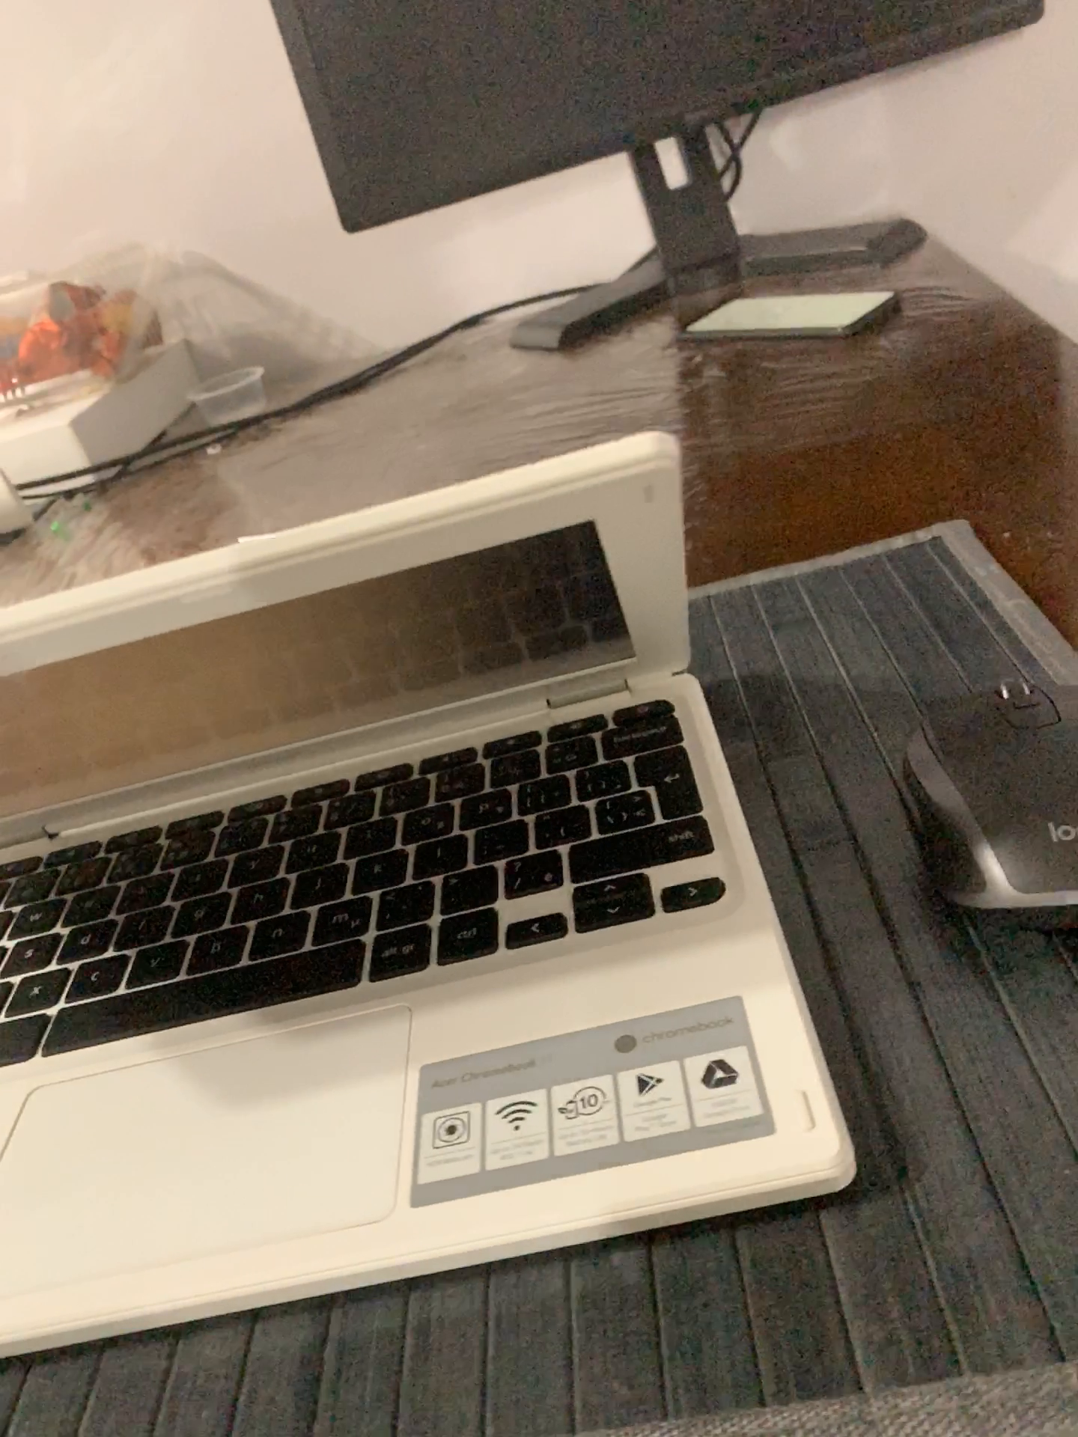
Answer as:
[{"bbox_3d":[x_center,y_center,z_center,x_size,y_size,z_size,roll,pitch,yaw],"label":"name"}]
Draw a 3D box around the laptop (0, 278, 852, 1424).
[{"bbox_3d":[-0.097,0.015,0.264,0.280,0.124,0.182,-14,30,6],"label":"laptop"}]
